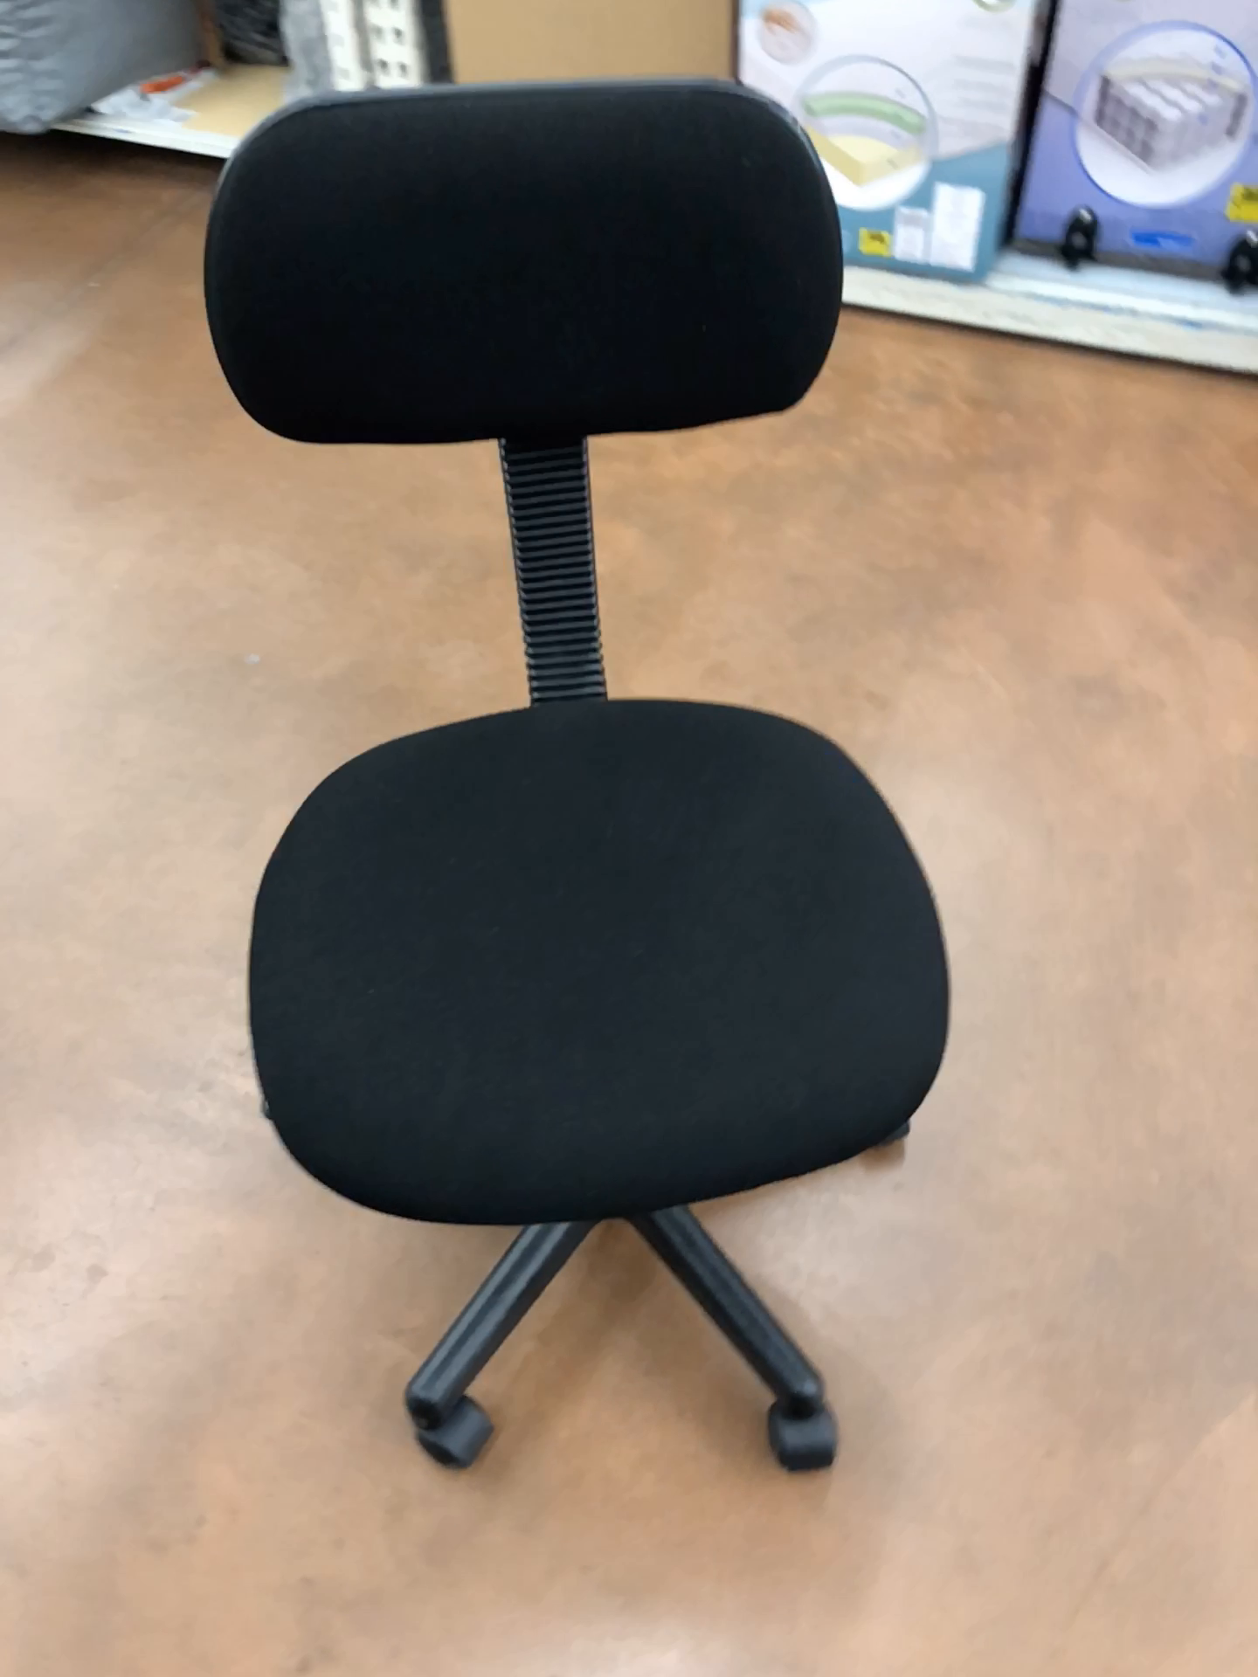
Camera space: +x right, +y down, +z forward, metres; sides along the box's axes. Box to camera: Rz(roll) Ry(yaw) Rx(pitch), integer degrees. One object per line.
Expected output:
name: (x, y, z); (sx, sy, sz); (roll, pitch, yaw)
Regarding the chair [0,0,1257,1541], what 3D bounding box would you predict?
chair: (-0.029, -0.022, 0.951); (0.670, 0.797, 0.662); (-5, 49, -2)
